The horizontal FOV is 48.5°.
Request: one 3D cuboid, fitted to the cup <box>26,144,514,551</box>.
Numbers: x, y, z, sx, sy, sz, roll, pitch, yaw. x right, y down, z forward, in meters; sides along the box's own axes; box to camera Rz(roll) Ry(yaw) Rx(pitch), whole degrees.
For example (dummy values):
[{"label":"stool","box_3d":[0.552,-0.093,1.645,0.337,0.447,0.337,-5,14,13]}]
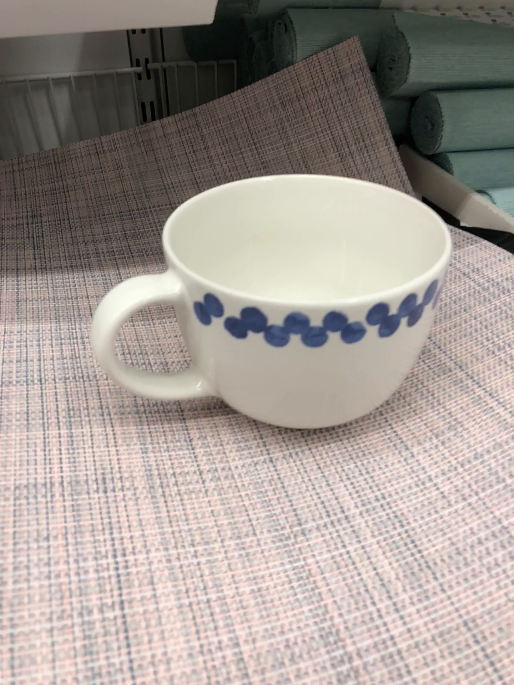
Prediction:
[{"label":"cup","box_3d":[0.009,-0.015,0.207,0.150,0.060,0.110,-16,39,-19]}]
